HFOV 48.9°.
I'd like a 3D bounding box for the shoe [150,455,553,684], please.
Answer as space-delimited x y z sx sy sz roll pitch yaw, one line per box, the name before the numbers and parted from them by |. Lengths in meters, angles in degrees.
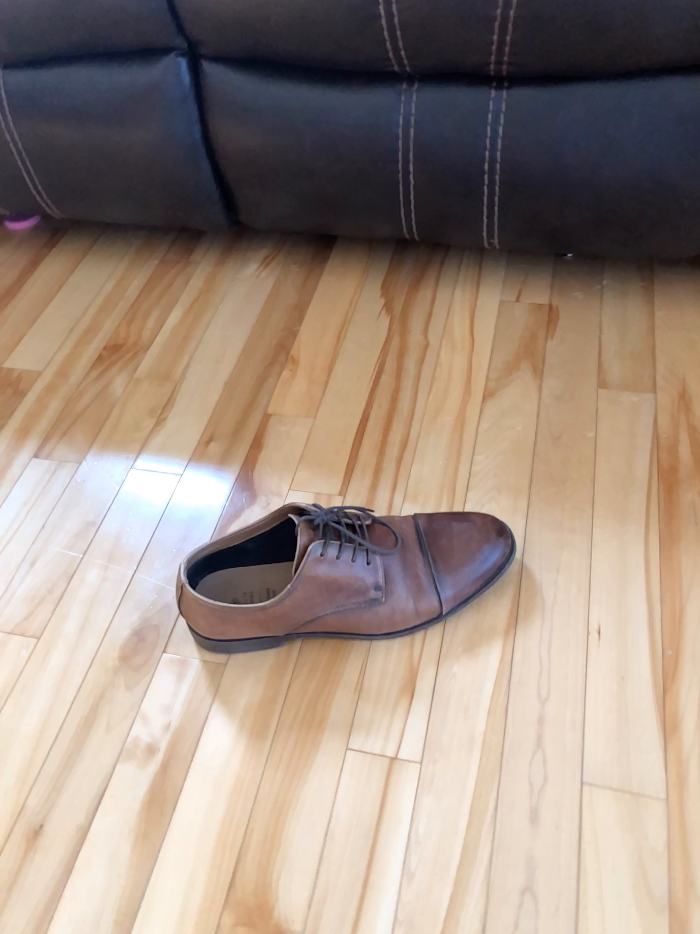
shoe | 0.000 0.087 0.653 0.310 0.100 0.100 -10 48 -2
